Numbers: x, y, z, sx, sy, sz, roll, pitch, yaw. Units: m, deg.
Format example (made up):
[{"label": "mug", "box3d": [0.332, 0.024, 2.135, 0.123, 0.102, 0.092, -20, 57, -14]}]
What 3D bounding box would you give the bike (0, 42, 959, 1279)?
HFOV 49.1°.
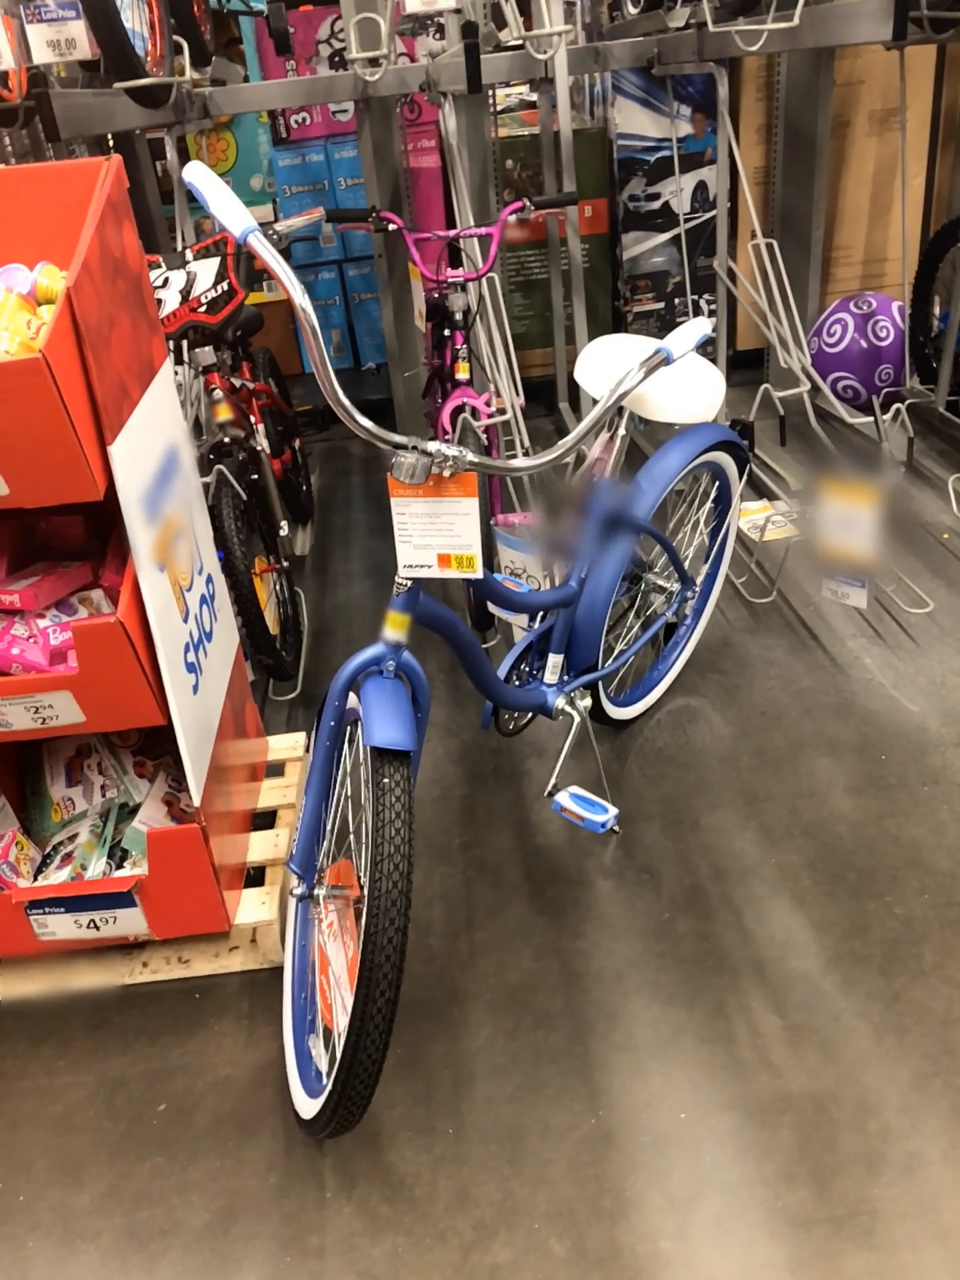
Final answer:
[{"label": "bike", "box3d": [0.166, -0.102, 1.516, 0.857, 1.113, 1.360, 11, 36, 28]}]
